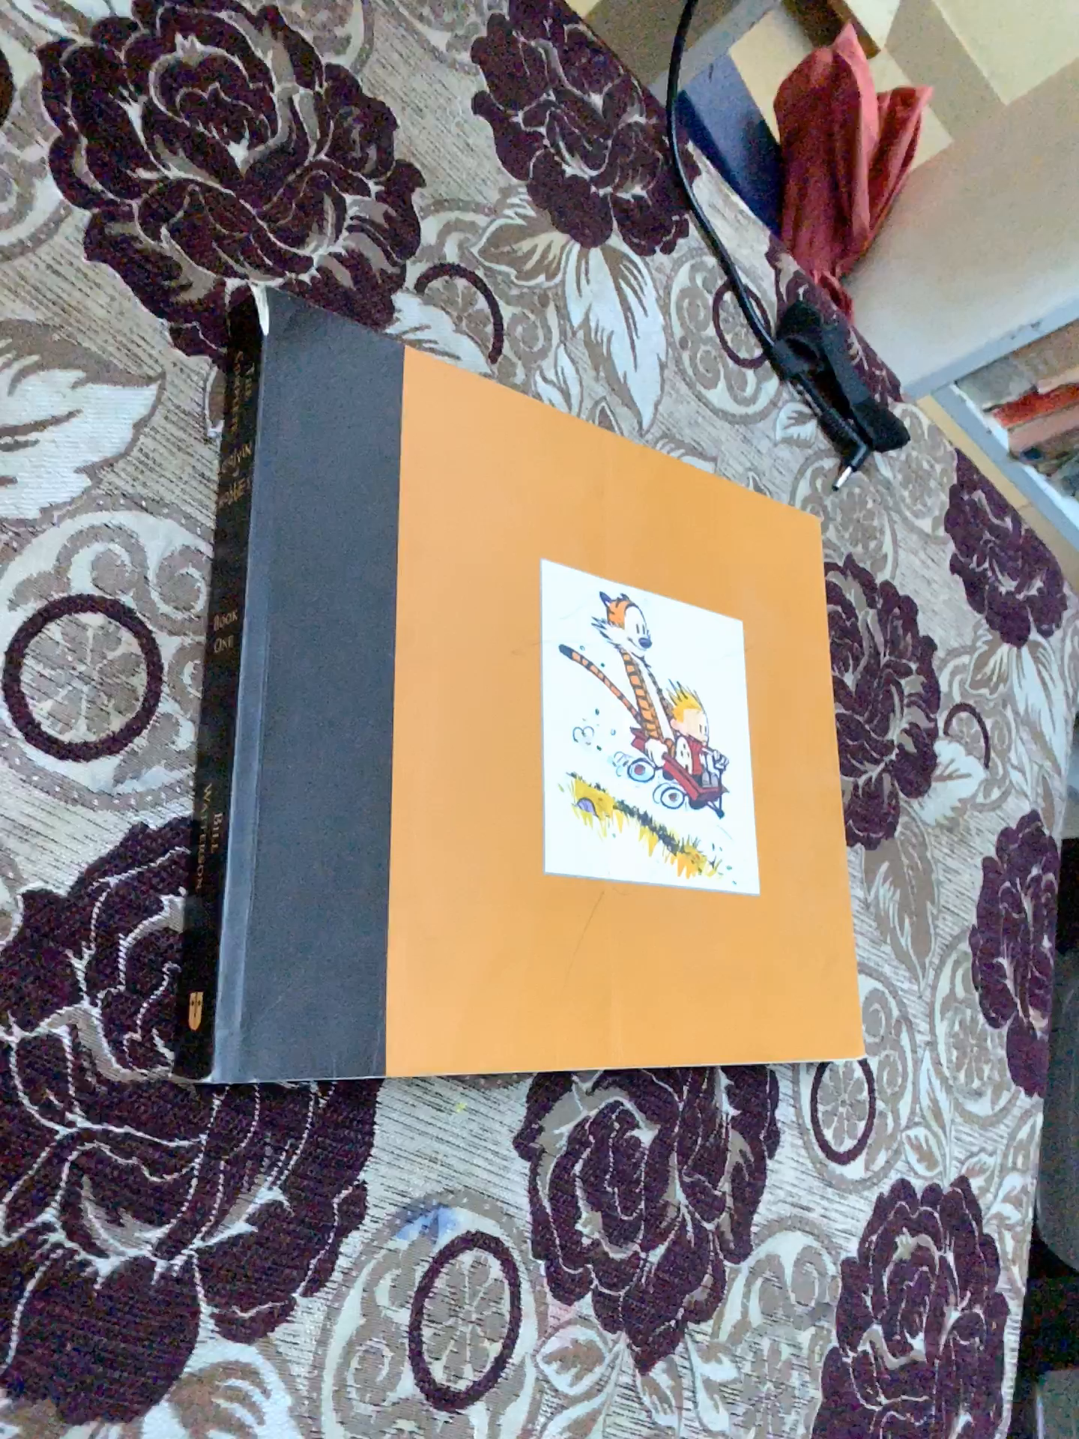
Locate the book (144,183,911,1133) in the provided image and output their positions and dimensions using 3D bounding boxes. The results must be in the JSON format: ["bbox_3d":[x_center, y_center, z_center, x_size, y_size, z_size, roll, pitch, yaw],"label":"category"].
[{"bbox_3d":[0.015,-0.007,0.384,0.271,0.040,0.261,11,69,-37],"label":"book"}]
